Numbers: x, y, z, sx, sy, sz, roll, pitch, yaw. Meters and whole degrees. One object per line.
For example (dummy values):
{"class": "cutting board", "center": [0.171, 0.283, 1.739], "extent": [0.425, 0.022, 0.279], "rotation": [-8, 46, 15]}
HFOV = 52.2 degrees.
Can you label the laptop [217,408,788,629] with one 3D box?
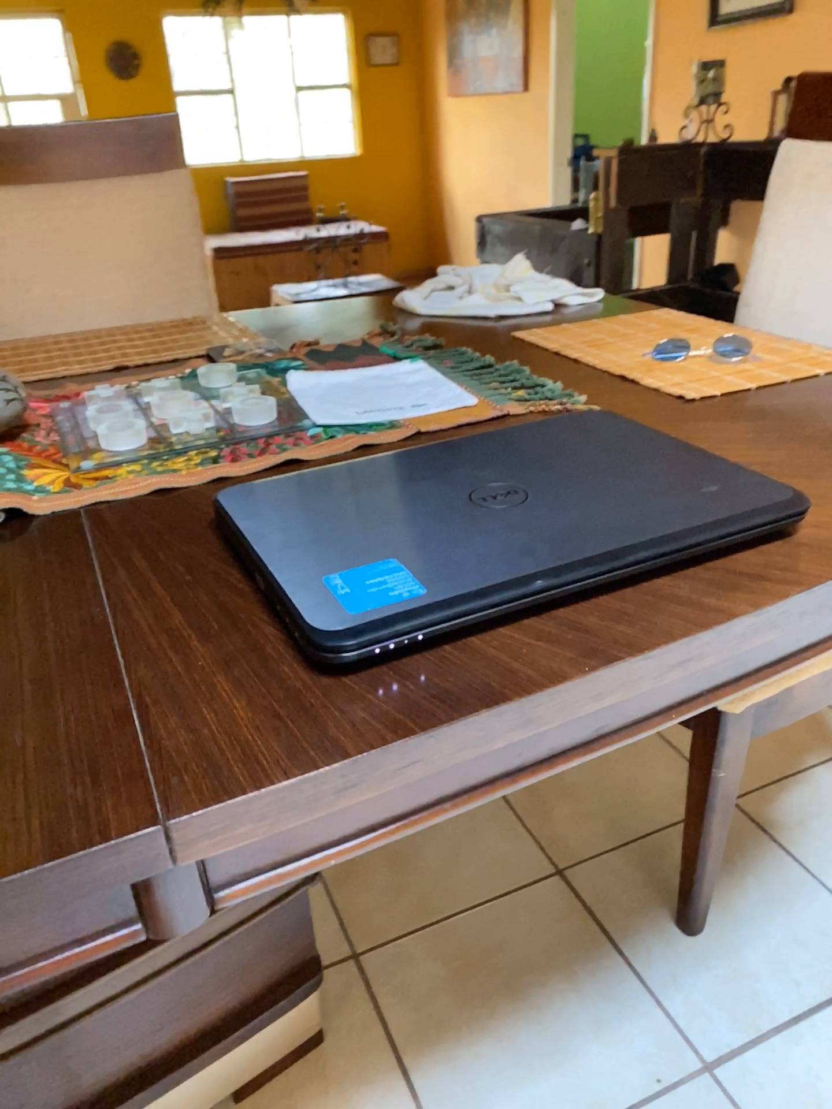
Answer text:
{"class": "laptop", "center": [0.054, -0.049, 0.639], "extent": [0.352, 0.001, 0.249], "rotation": [-15, 29, -22]}
